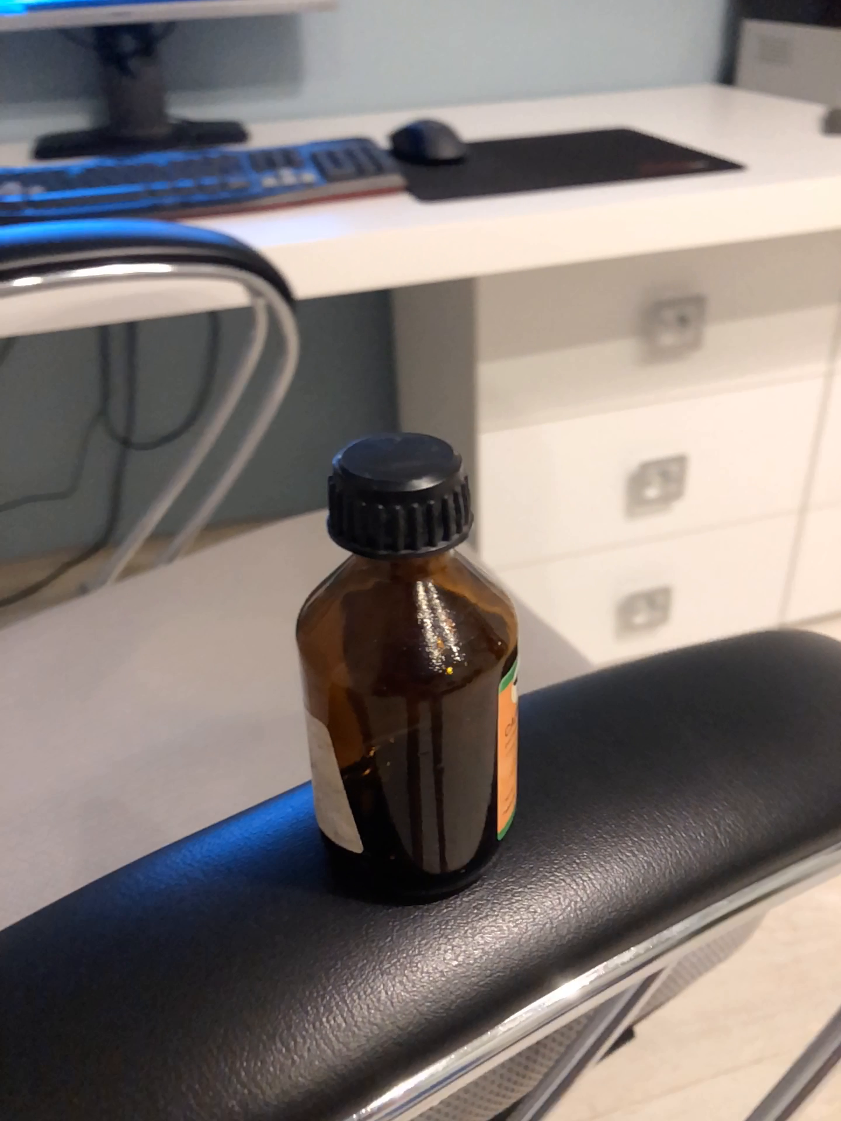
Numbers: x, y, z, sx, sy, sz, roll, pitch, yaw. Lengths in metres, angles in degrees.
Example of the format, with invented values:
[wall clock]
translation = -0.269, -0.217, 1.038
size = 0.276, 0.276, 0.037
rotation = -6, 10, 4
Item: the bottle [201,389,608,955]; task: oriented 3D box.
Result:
[bottle]
translation = -0.003, 0.020, 0.182
size = 0.050, 0.083, 0.050
rotation = -2, 33, 1
